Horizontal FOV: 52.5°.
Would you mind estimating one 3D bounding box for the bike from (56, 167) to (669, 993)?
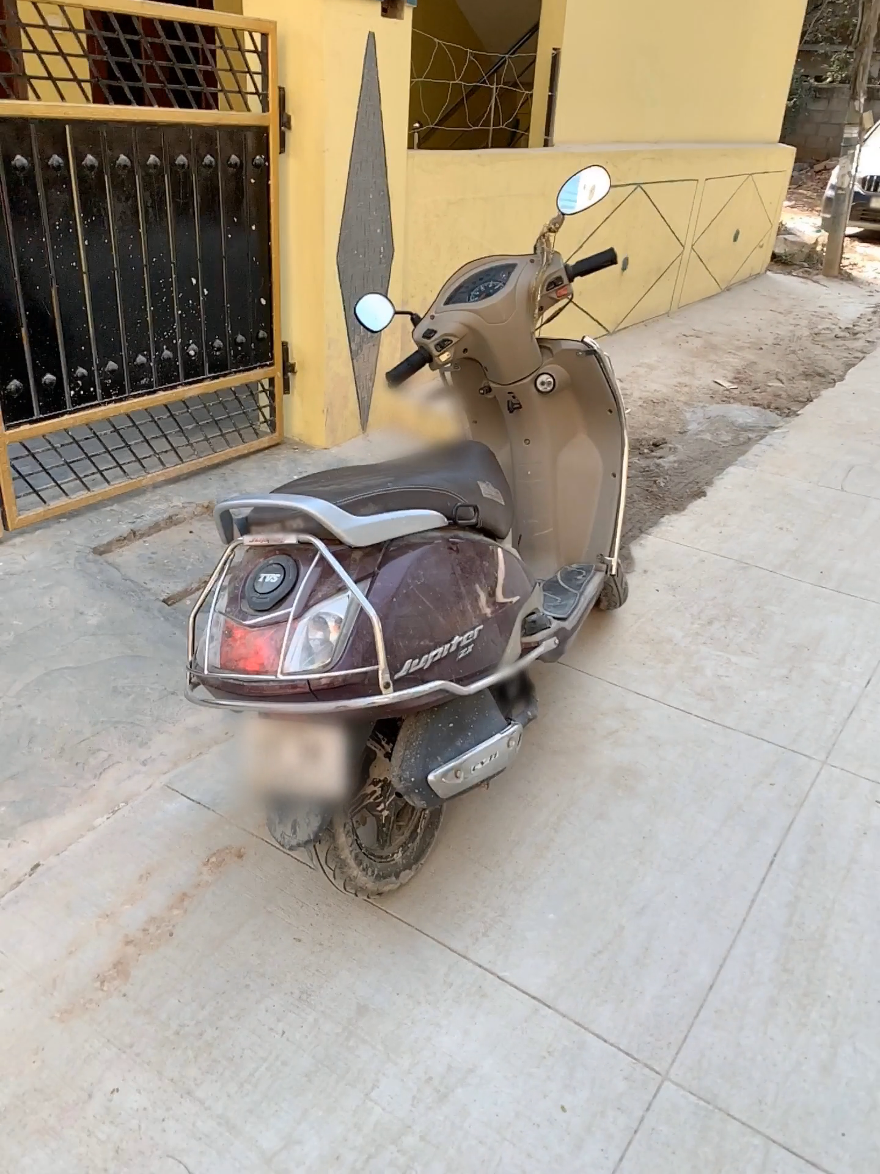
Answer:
[{"bbox_3d":[-0.021,-0.210,2.090,0.614,1.158,1.531,14,33,19],"label":"bike"}]
